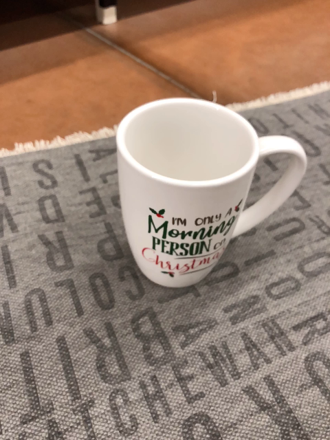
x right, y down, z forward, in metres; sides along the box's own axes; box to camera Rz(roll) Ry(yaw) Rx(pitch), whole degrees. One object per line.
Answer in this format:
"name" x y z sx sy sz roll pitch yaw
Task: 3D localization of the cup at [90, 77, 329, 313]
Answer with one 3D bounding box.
"cup" 0.033 -0.019 0.251 0.140 0.100 0.090 -12 50 -14
